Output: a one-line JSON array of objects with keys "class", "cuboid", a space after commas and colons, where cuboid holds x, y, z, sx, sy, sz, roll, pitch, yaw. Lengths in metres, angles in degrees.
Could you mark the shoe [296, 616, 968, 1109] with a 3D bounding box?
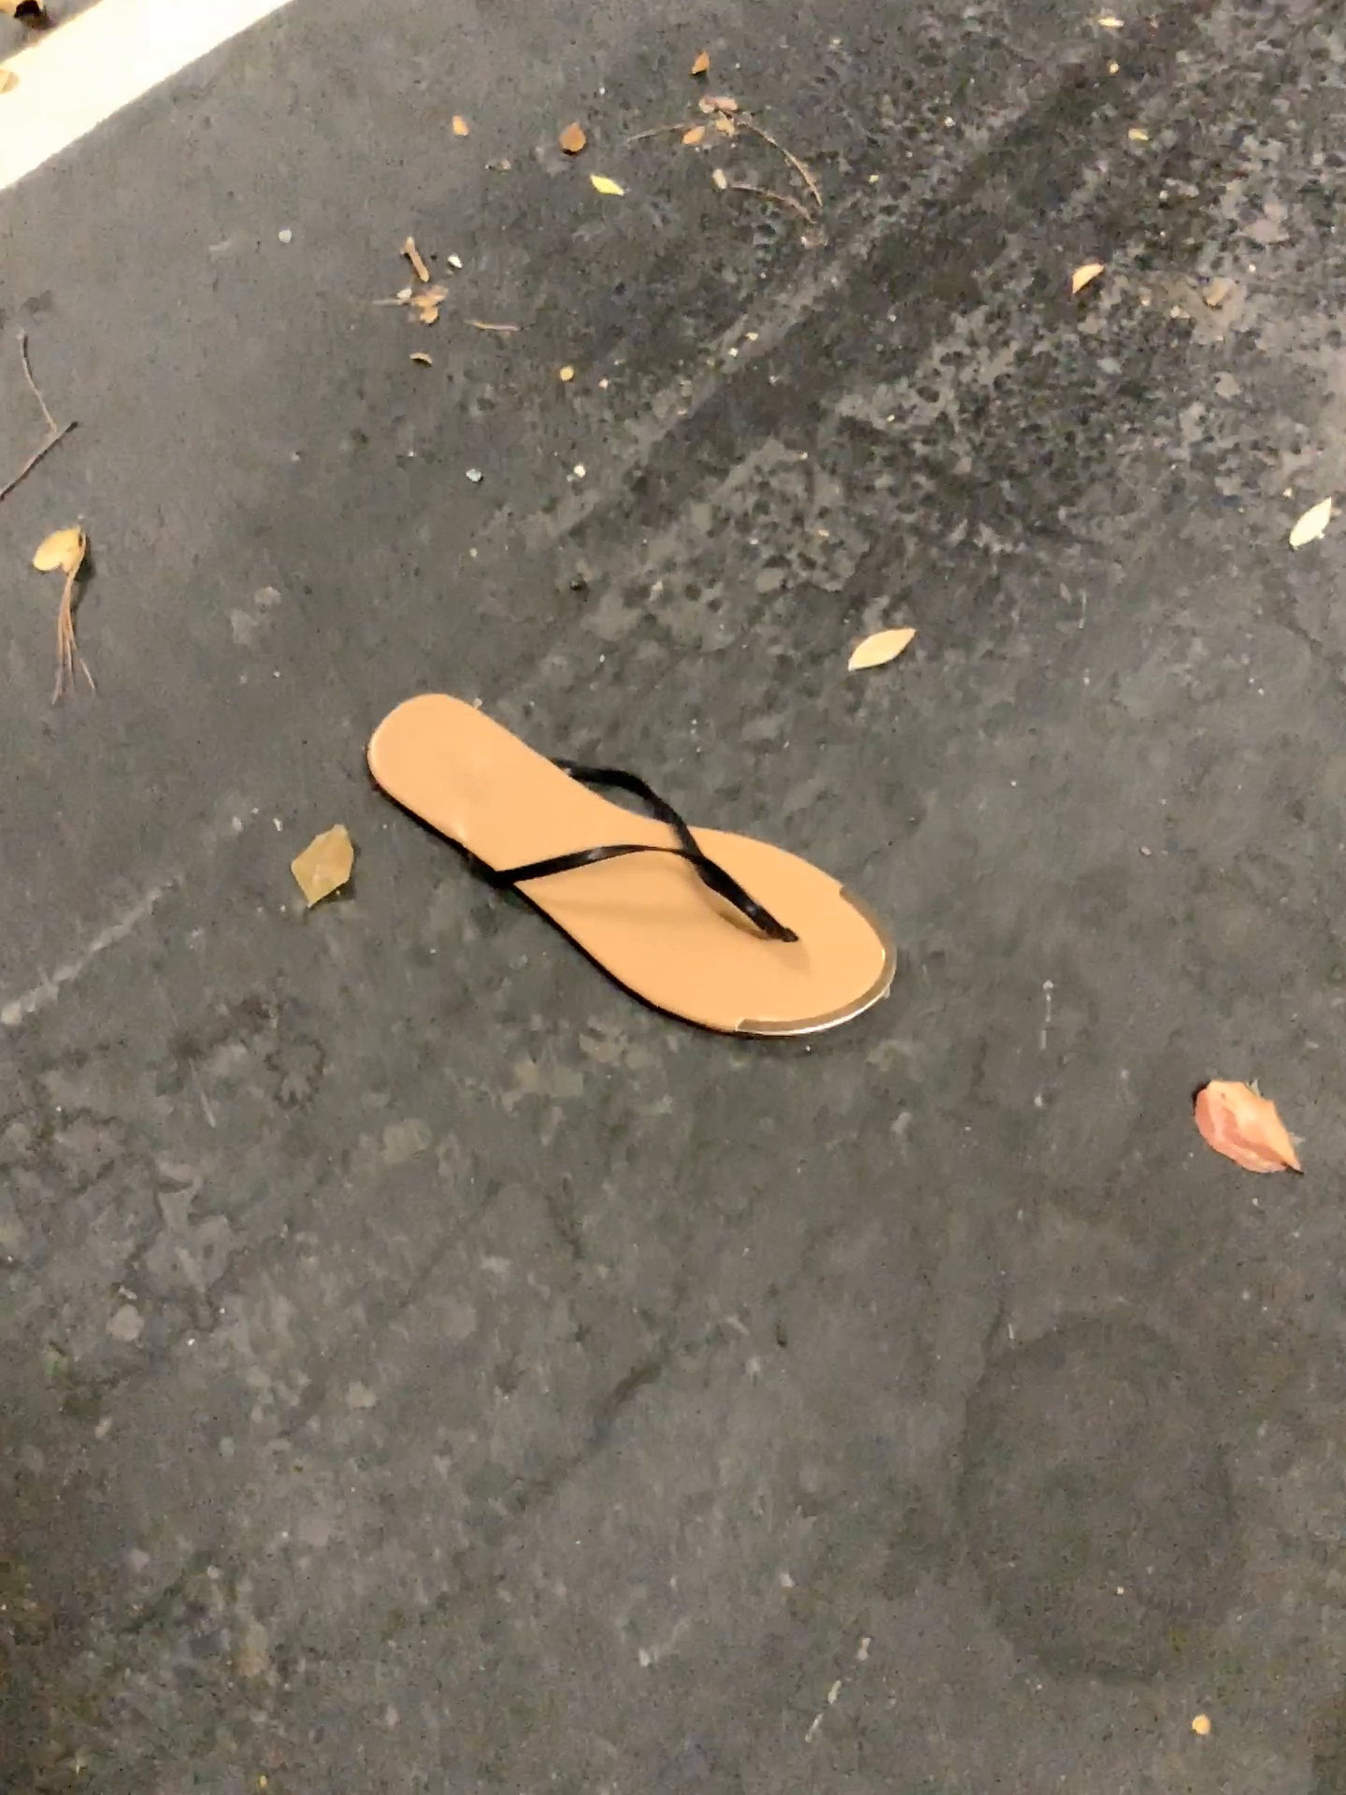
[{"class": "shoe", "cuboid": [-0.022, -0.023, 0.692, 0.290, 0.030, 0.110, 27, 71, 14]}]
